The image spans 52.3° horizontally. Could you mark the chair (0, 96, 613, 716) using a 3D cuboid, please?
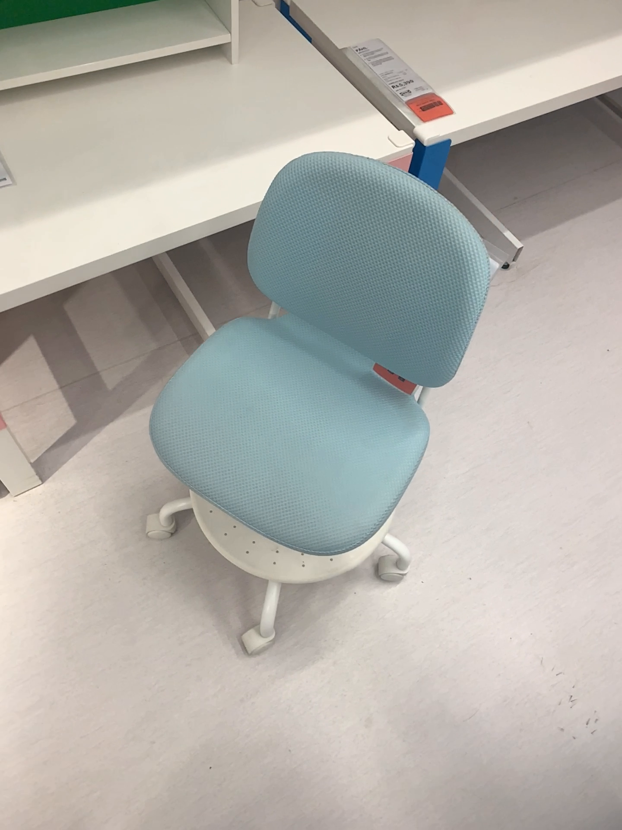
[{"bbox_3d":[-0.016,0.026,1.088,0.580,0.679,0.611,31,61,13],"label":"chair"}]
